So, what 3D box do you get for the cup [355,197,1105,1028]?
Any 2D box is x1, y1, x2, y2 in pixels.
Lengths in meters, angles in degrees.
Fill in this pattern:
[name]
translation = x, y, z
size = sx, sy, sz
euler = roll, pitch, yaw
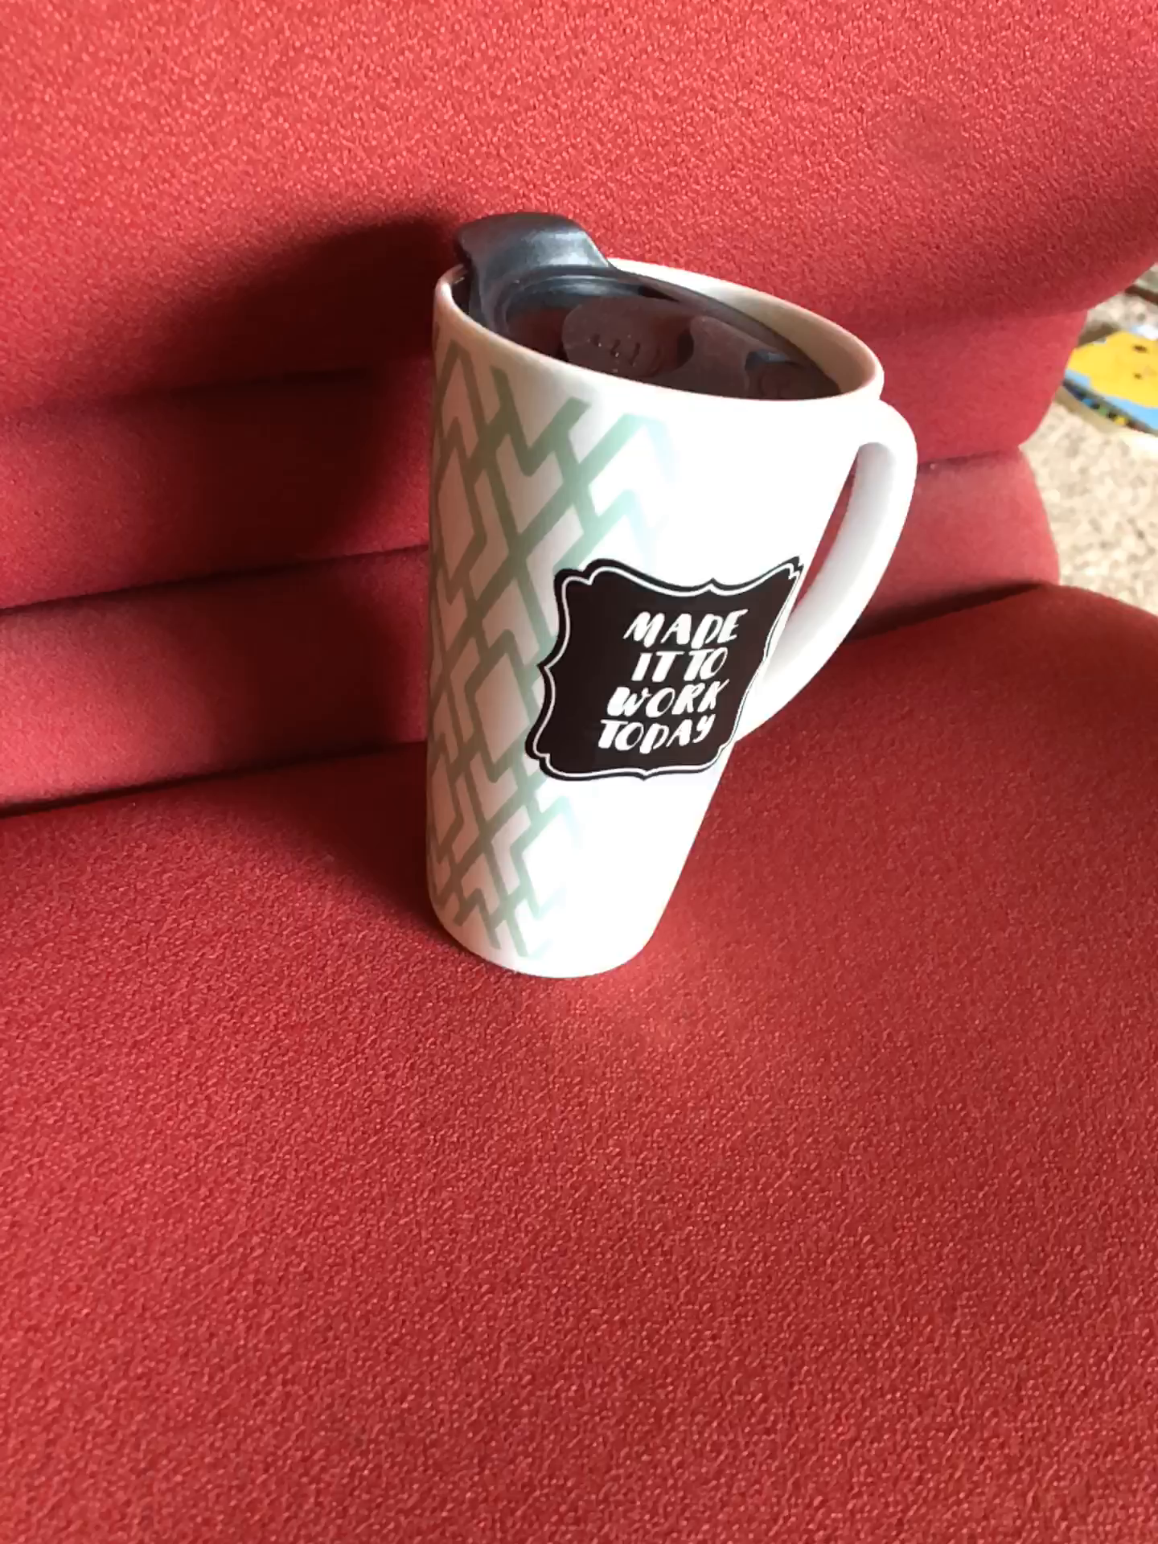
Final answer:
[cup]
translation = 0.019, -0.037, 0.298
size = 0.120, 0.160, 0.080
euler = -11, 43, -23
